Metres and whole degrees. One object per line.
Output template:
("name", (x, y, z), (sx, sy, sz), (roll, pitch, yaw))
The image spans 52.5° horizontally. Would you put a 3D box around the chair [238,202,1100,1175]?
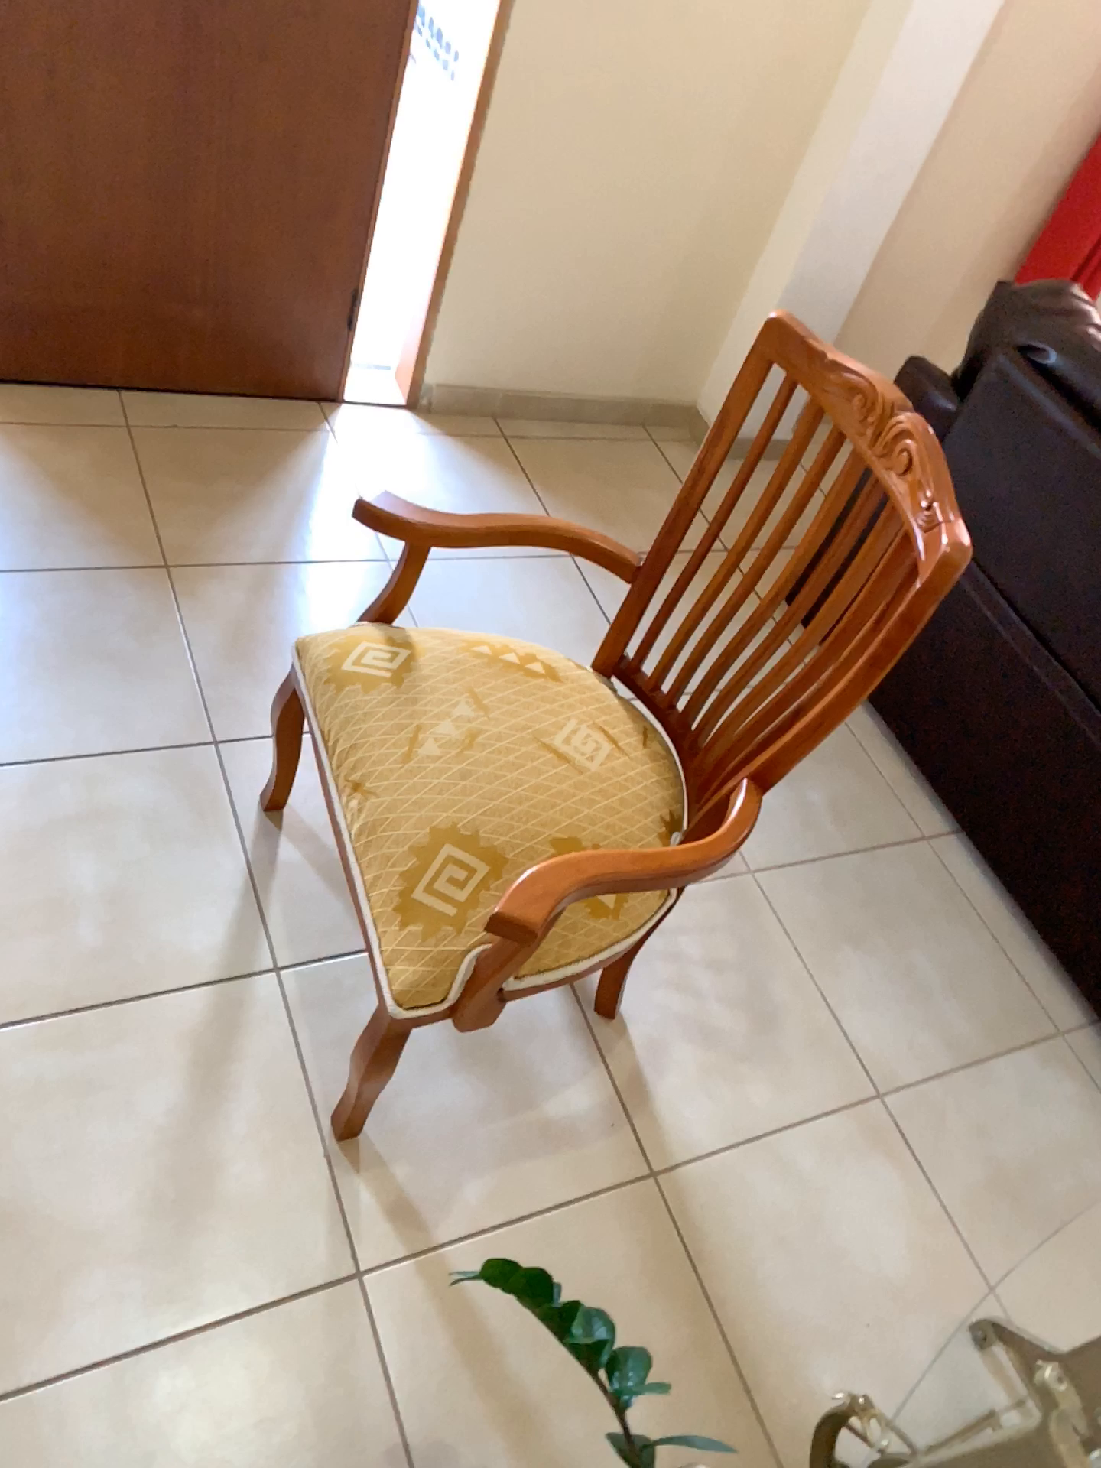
("chair", (0.020, 0.002, 1.459), (0.632, 1.014, 0.622), (-4, 51, -26))
